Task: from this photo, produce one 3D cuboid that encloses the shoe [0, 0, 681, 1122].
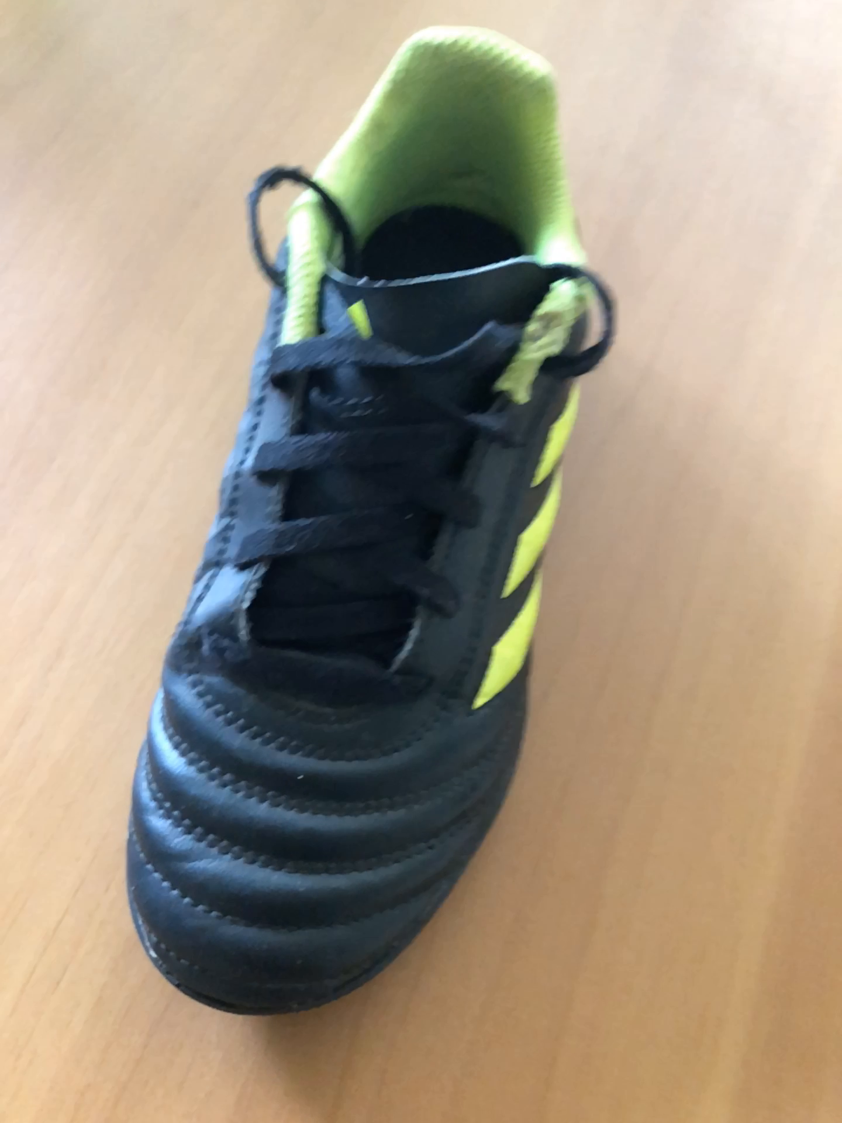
[{"bbox_3d":[-0.009,-0.010,0.215,0.090,0.090,0.221,13,65,0],"label":"shoe"}]
